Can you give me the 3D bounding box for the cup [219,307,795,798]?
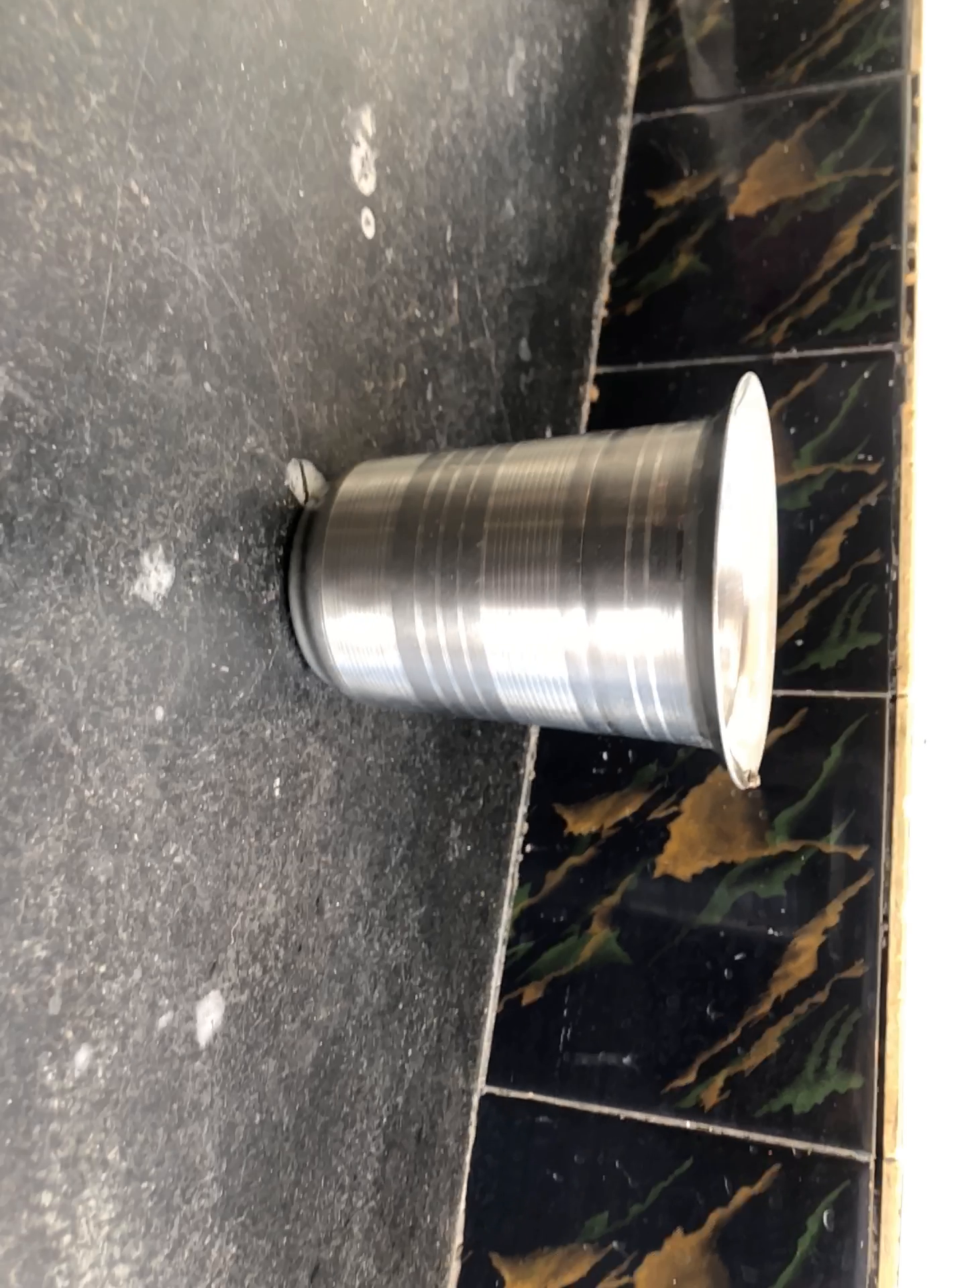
[{"bbox_3d":[0.012,-0.016,0.258,0.091,0.109,0.090,1,90,-69],"label":"cup"}]
